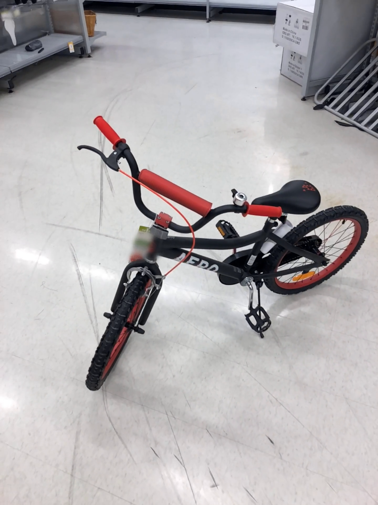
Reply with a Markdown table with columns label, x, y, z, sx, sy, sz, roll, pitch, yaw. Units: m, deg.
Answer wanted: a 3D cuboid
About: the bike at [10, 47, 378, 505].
| label | x | y | z | sx | sy | sz | roll | pitch | yaw |
| --- | --- | --- | --- | --- | --- | --- | --- | --- | --- |
| bike | 0.231 | 0.002 | 1.385 | 1.248 | 0.924 | 0.627 | -25 | 45 | -23 |
